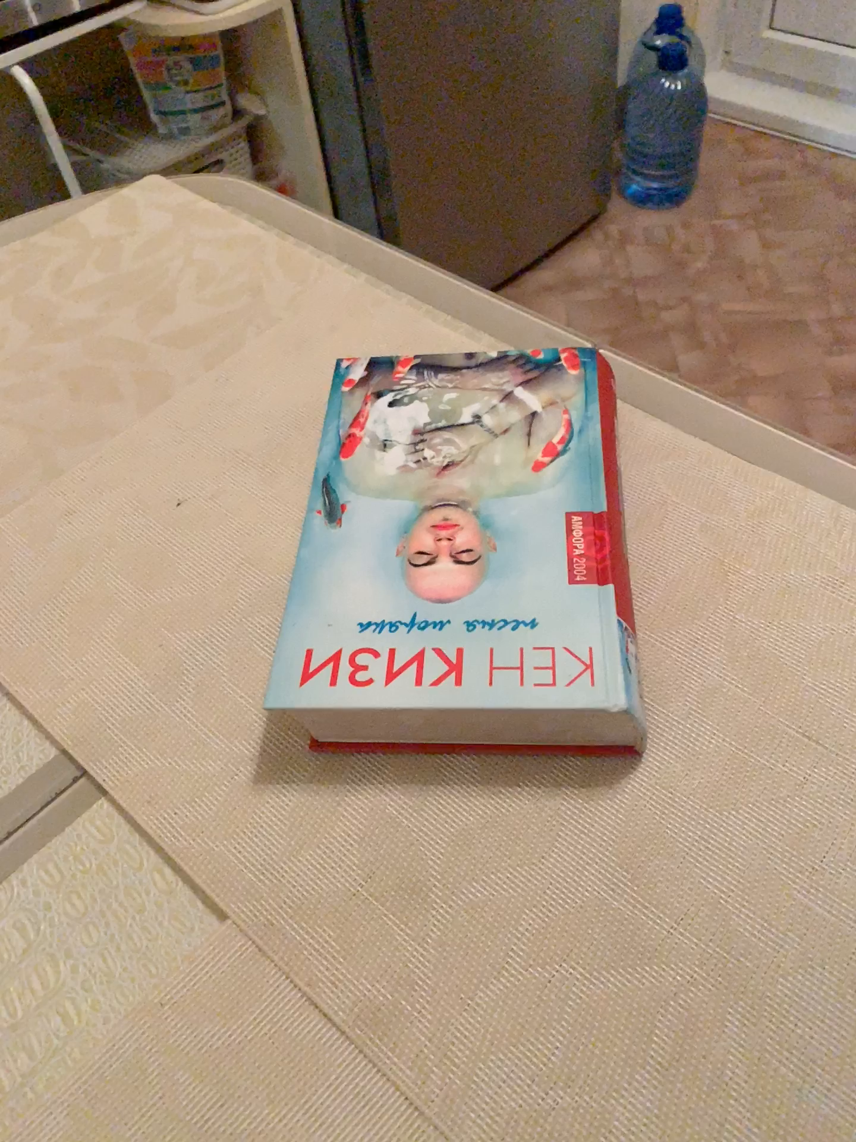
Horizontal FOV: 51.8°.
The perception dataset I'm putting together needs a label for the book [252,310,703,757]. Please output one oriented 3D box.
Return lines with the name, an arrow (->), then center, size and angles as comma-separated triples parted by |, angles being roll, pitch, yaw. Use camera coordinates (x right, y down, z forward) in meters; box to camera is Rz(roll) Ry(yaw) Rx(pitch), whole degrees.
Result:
book -> 0.023, -0.027, 0.375 | 0.150, 0.040, 0.212 | -1, 51, 7
